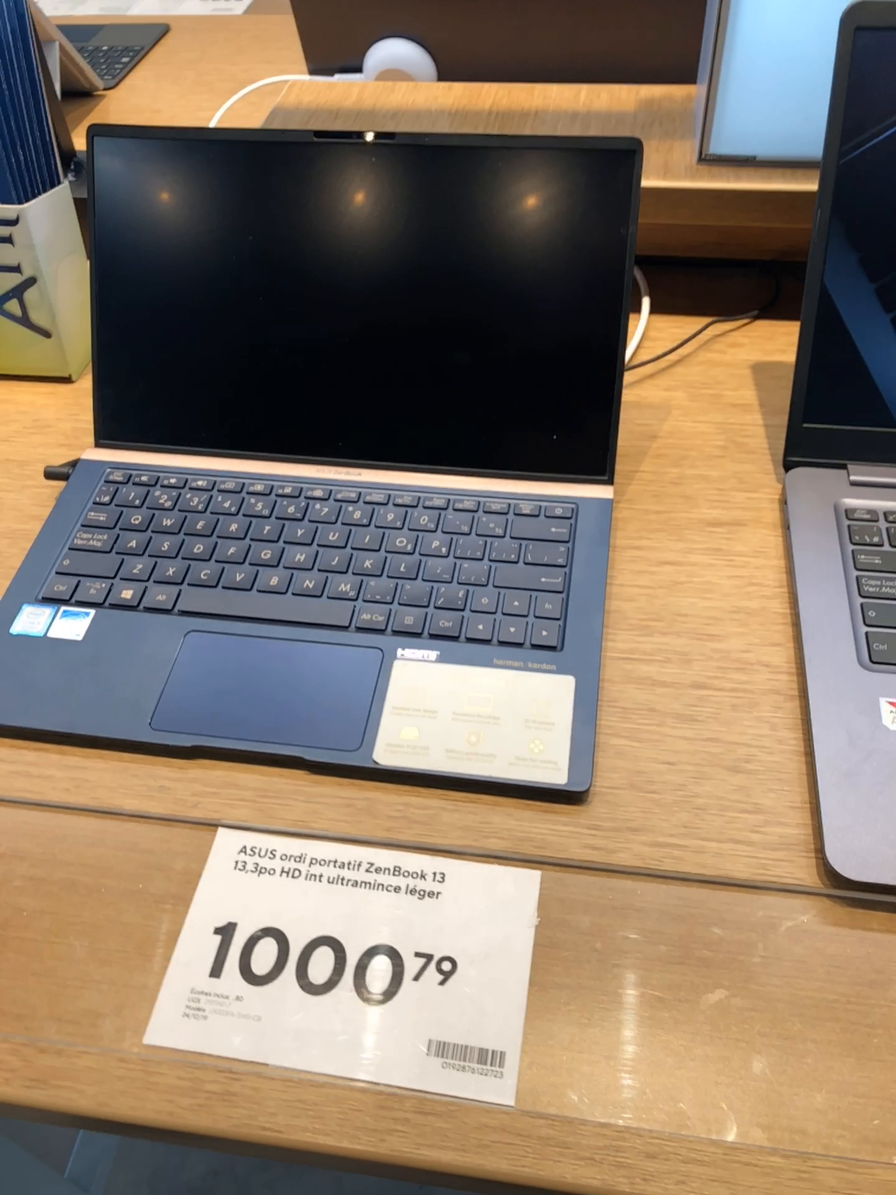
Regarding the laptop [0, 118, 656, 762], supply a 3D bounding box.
[{"bbox_3d":[-0.059,-0.092,0.470,0.276,0.130,0.277,5,52,10],"label":"laptop"}]
